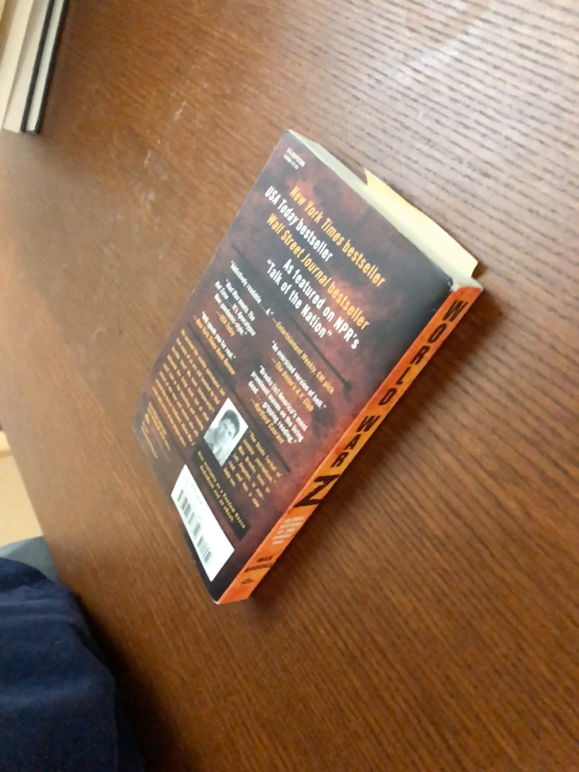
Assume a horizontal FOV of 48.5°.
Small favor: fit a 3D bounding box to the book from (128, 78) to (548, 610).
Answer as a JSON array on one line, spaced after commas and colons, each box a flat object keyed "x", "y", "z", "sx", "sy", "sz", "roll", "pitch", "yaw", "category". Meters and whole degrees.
[{"x": -0.002, "y": -0.015, "z": 0.321, "sx": 0.220, "sy": 0.030, "sz": 0.140, "roll": -56, "pitch": 50, "yaw": 28, "category": "book"}]
